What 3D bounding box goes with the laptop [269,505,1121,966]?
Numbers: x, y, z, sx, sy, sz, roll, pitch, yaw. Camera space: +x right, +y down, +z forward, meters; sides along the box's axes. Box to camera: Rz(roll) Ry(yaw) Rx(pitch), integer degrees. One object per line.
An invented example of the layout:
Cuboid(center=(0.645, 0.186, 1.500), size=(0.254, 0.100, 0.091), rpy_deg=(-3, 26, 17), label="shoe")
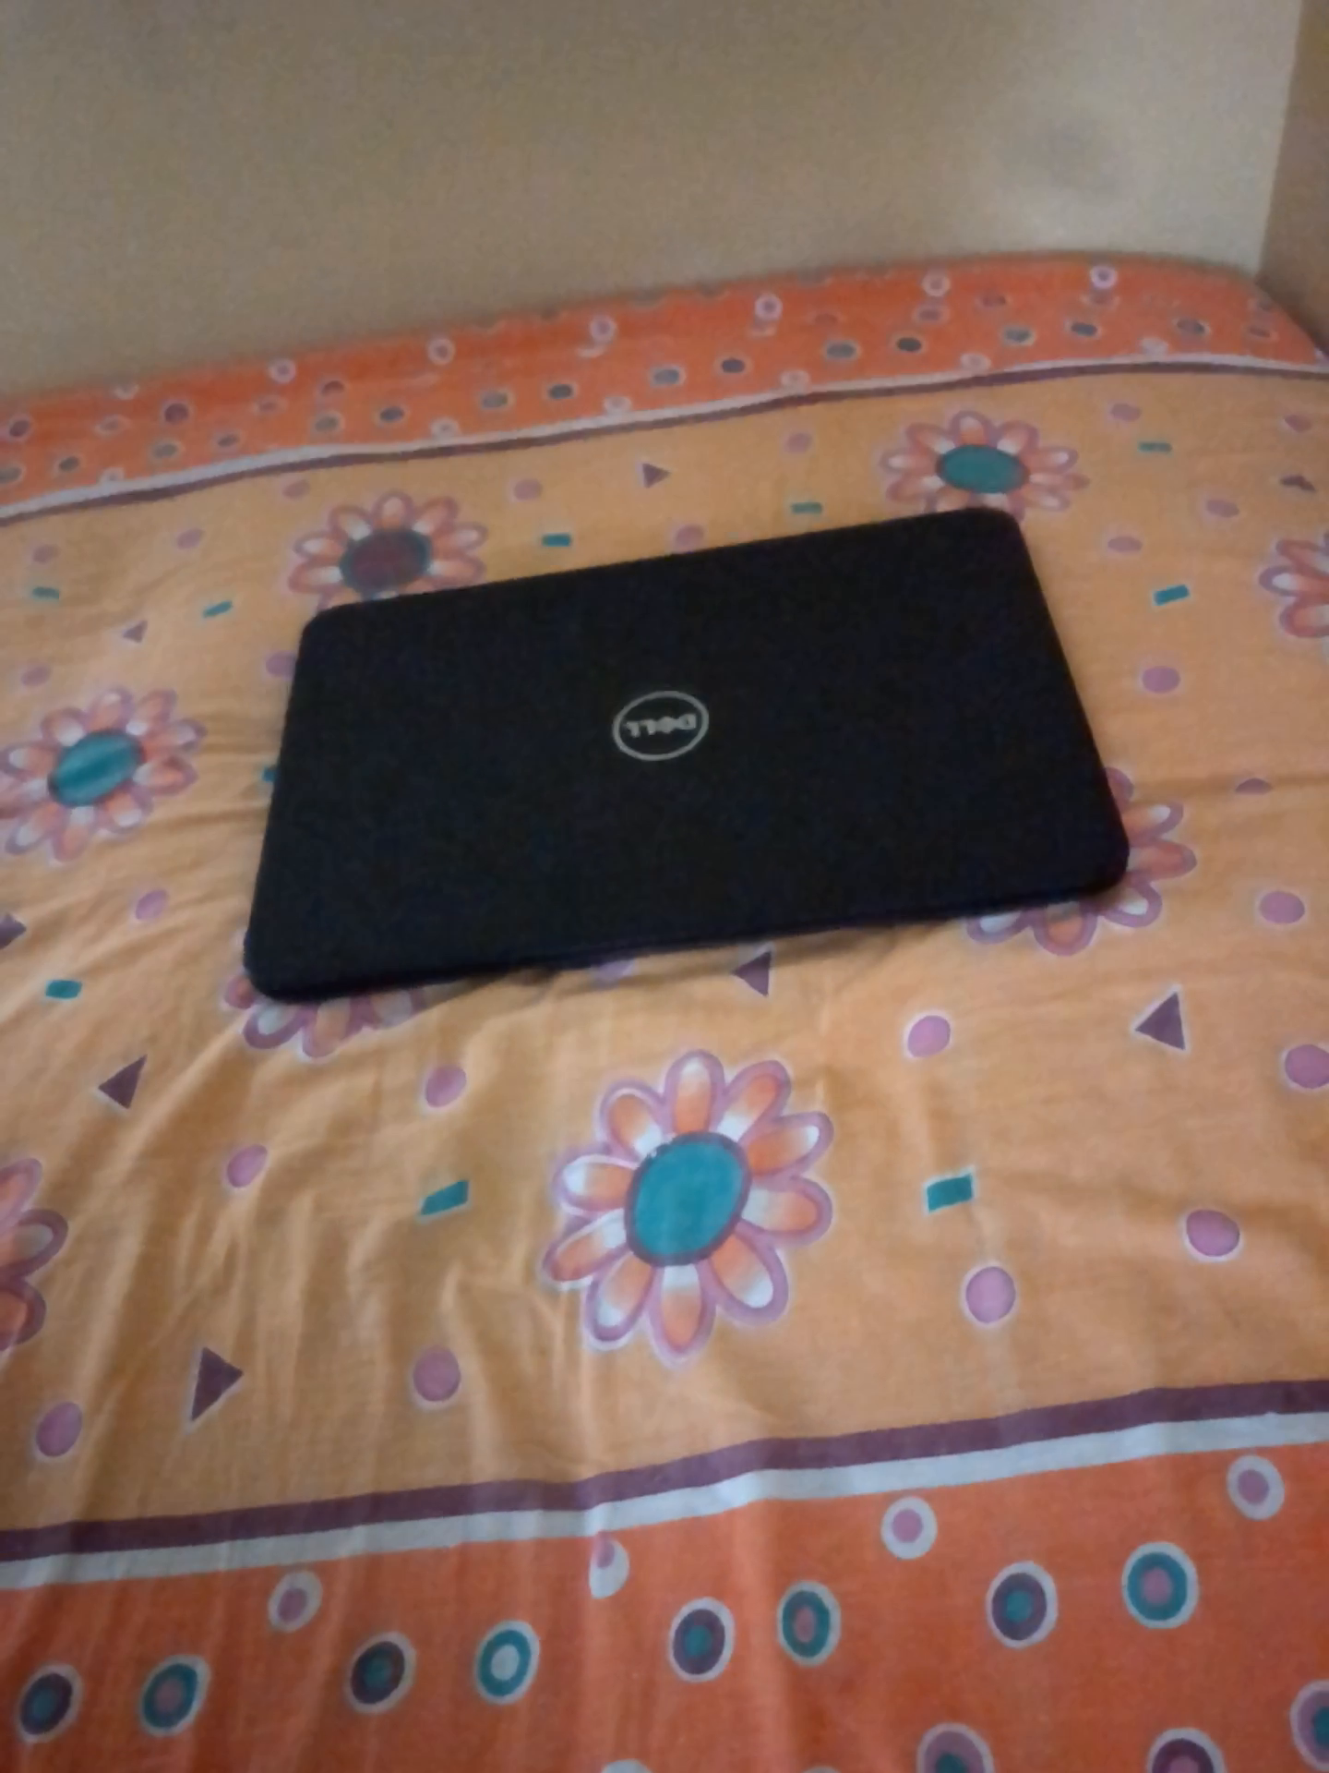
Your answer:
Cuboid(center=(0.000, -0.080, 0.688), size=(0.358, 0.001, 0.236), rpy_deg=(-8, 50, 4), label="laptop")
